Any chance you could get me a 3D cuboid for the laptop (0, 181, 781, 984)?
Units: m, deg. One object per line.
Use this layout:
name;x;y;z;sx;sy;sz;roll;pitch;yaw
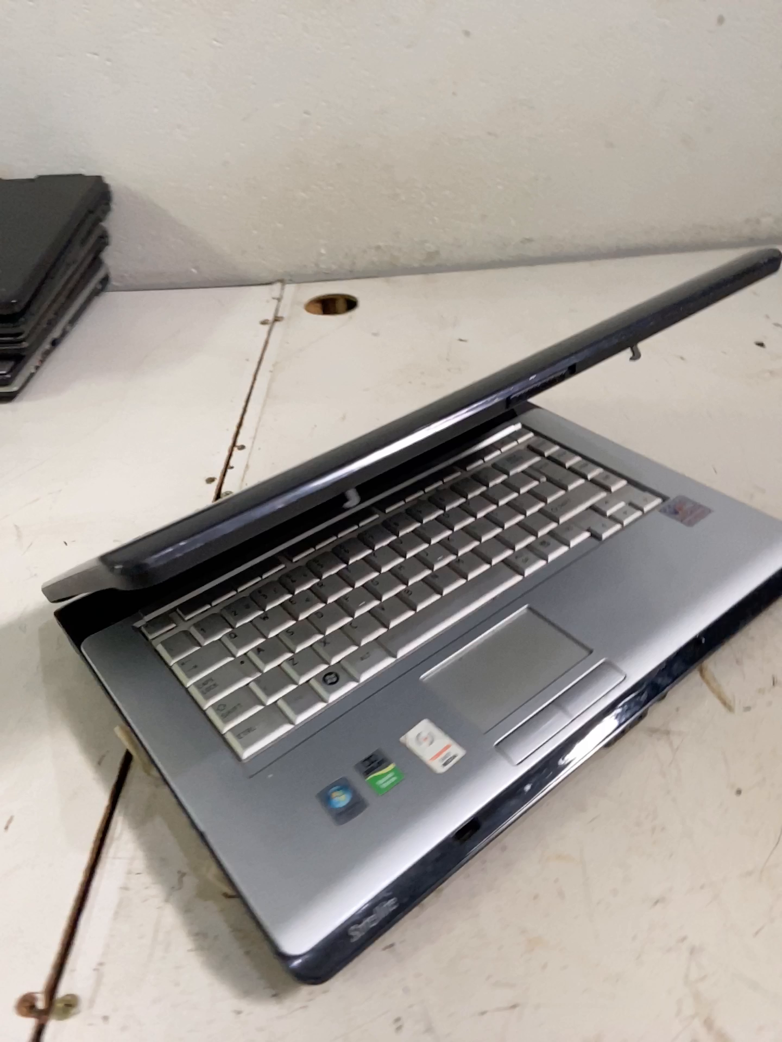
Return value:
laptop;0.021;-0.029;0.400;0.347;0.152;0.258;-28;43;-27
